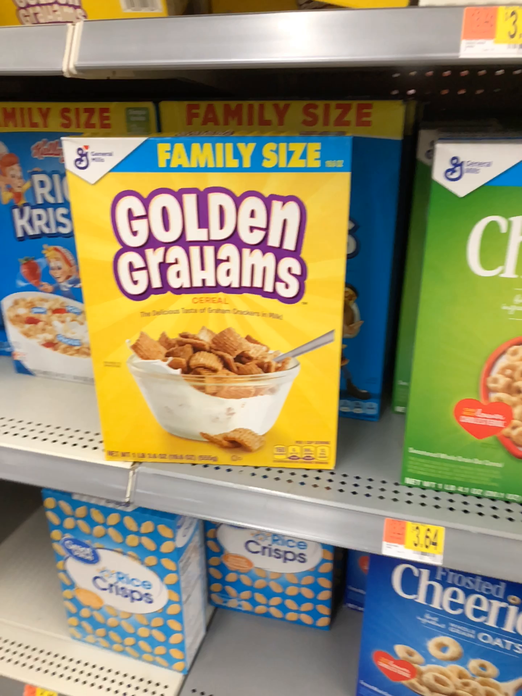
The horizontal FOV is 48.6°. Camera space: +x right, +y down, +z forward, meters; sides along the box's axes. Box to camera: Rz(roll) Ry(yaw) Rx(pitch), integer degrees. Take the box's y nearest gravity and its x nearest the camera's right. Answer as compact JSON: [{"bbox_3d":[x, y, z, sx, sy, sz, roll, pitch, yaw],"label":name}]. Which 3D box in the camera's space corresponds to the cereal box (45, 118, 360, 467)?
[{"bbox_3d":[-0.042,-0.043,0.533,0.240,0.309,0.070,1,25,4],"label":"cereal box"}]
